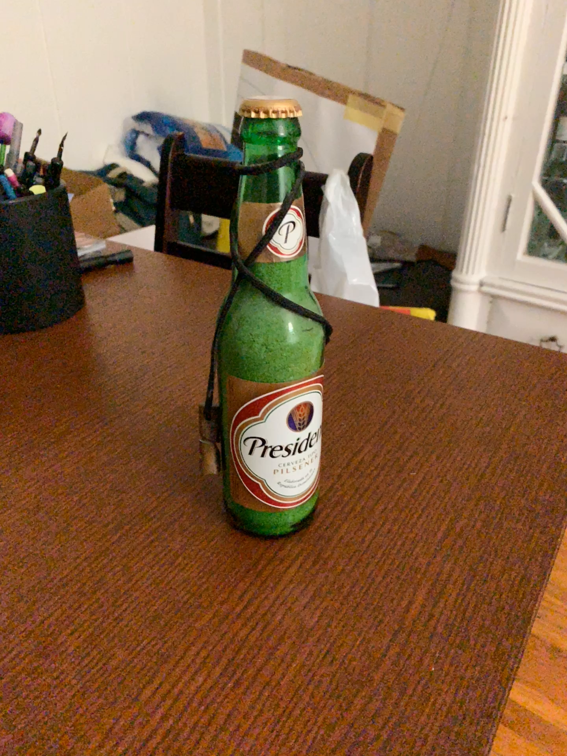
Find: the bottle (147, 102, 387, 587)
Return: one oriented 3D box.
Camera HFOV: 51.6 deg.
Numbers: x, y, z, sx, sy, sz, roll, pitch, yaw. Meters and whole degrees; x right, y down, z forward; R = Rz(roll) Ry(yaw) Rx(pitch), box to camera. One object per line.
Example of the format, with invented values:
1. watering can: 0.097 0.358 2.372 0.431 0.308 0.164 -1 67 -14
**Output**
1. bottle: -0.009 -0.012 0.315 0.080 0.239 0.070 -17 34 -28
